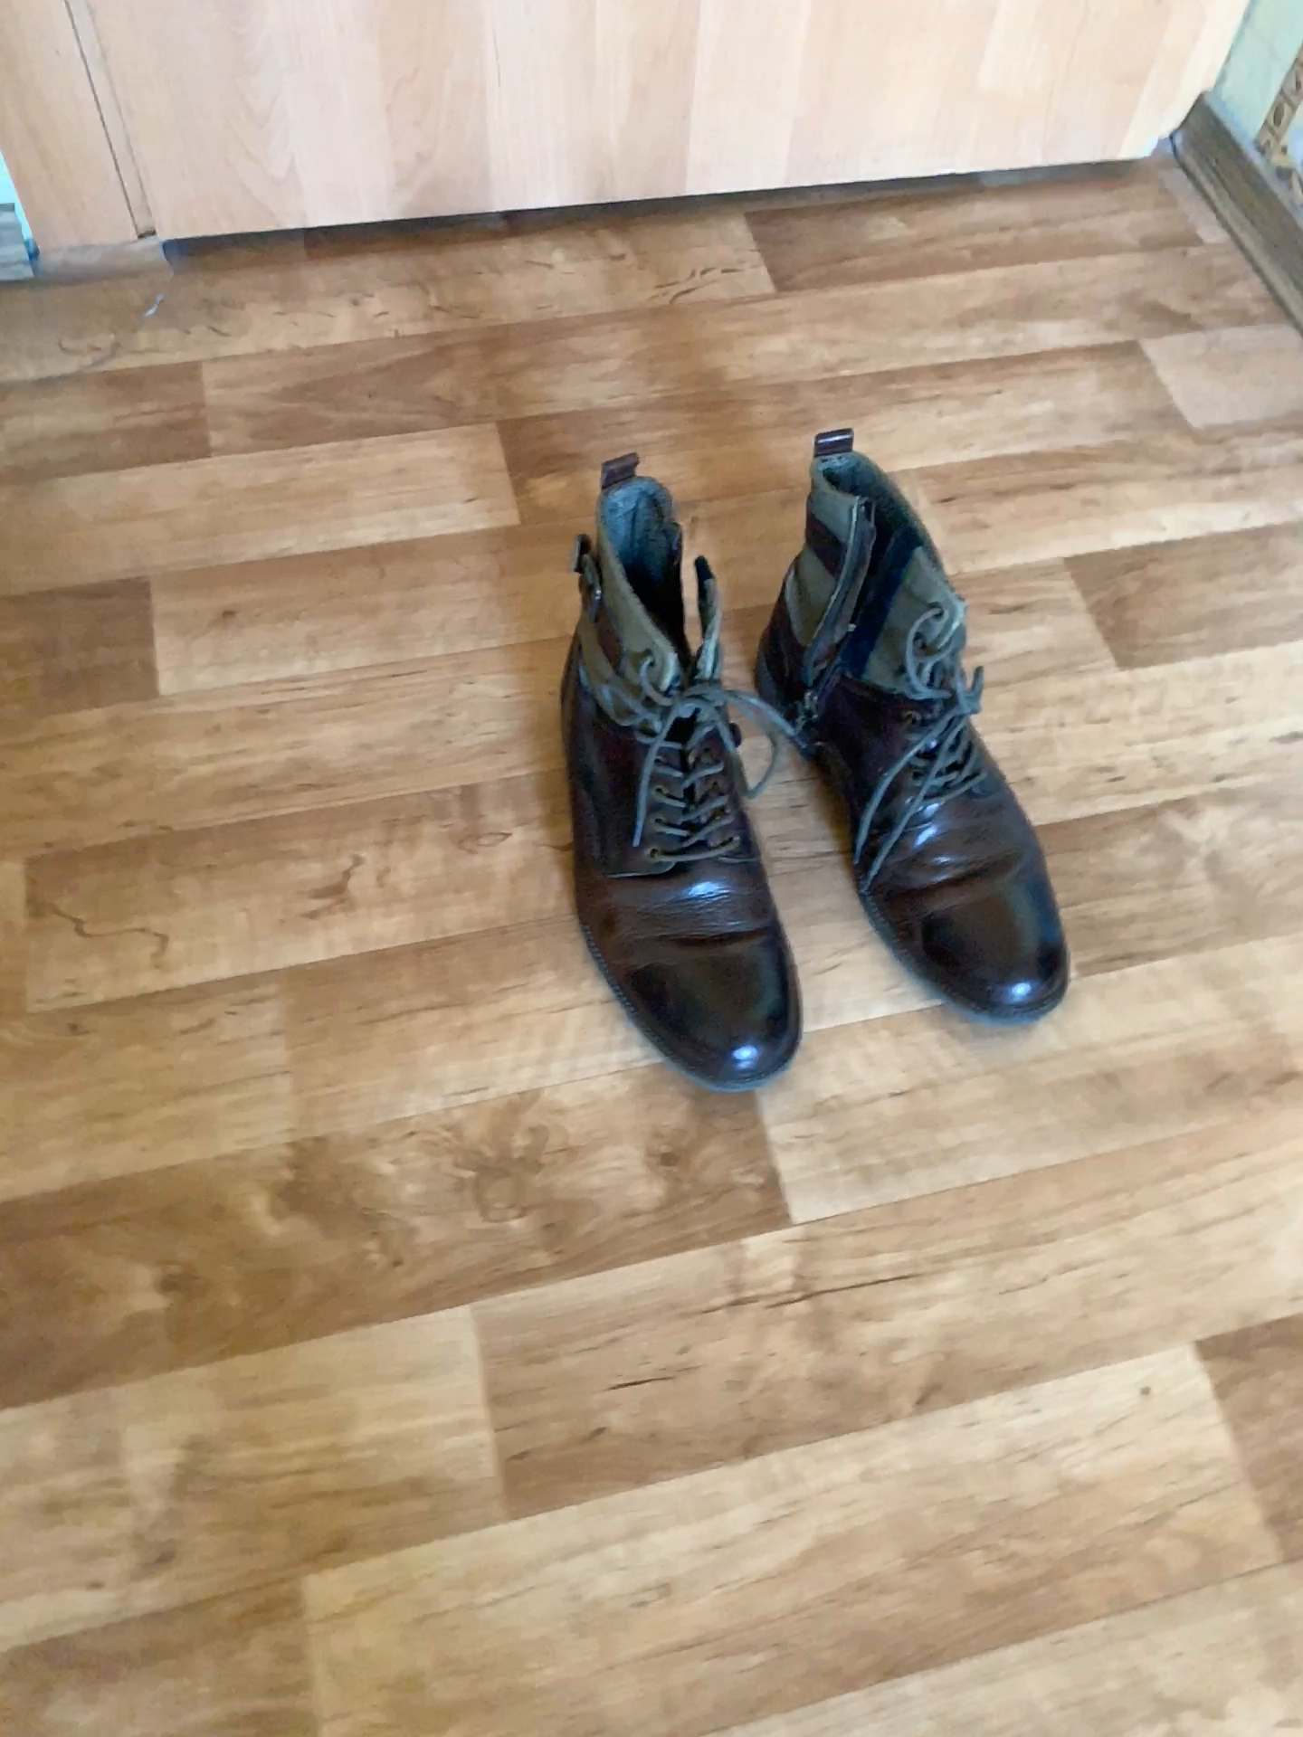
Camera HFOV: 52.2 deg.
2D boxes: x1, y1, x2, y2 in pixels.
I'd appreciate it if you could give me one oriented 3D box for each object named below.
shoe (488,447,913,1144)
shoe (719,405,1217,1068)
[{"bbox_3d":[0.009,-0.041,0.682,0.110,0.150,0.311,-13,62,-11],"label":"shoe"},{"bbox_3d":[0.147,-0.075,0.716,0.110,0.150,0.311,-15,63,-11],"label":"shoe"}]
